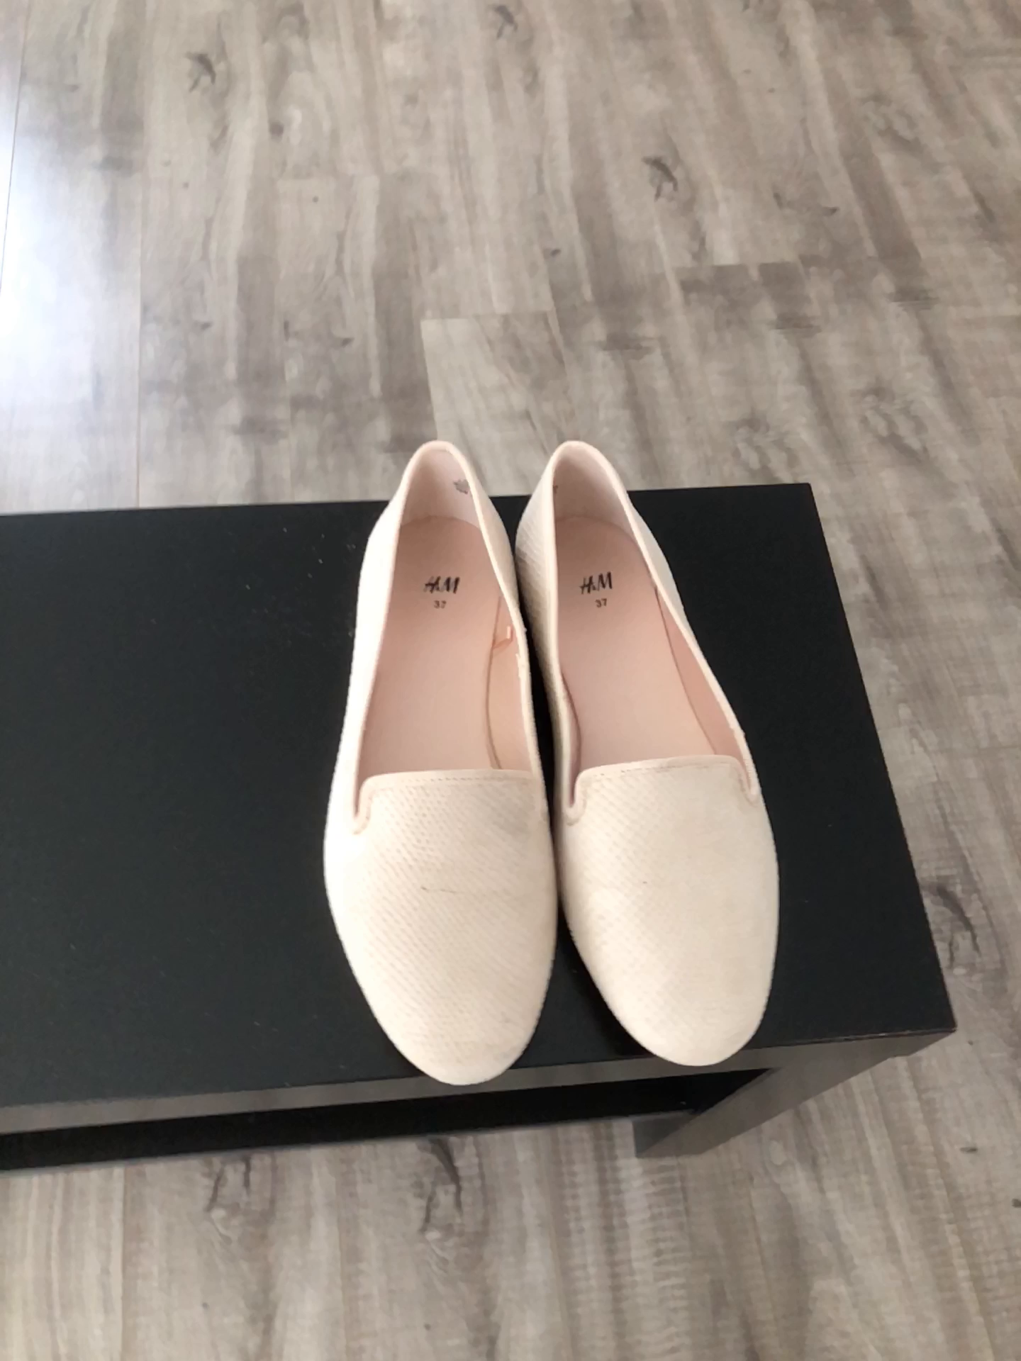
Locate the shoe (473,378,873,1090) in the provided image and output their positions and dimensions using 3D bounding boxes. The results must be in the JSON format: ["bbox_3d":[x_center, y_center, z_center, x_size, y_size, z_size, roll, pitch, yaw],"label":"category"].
[{"bbox_3d":[0.046,0.009,0.428,0.080,0.070,0.259,-7,61,-8],"label":"shoe"}]

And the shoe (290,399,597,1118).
[{"bbox_3d":[-0.033,0.018,0.422,0.090,0.070,0.259,-3,61,-5],"label":"shoe"}]
